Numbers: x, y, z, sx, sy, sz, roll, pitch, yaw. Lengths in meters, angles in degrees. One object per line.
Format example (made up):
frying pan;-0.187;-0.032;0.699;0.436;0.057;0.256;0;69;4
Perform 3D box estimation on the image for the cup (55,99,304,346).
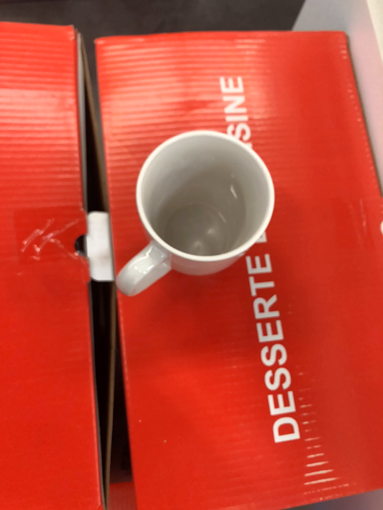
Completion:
cup;-0.009;-0.015;0.303;0.092;0.092;0.124;41;76;3
